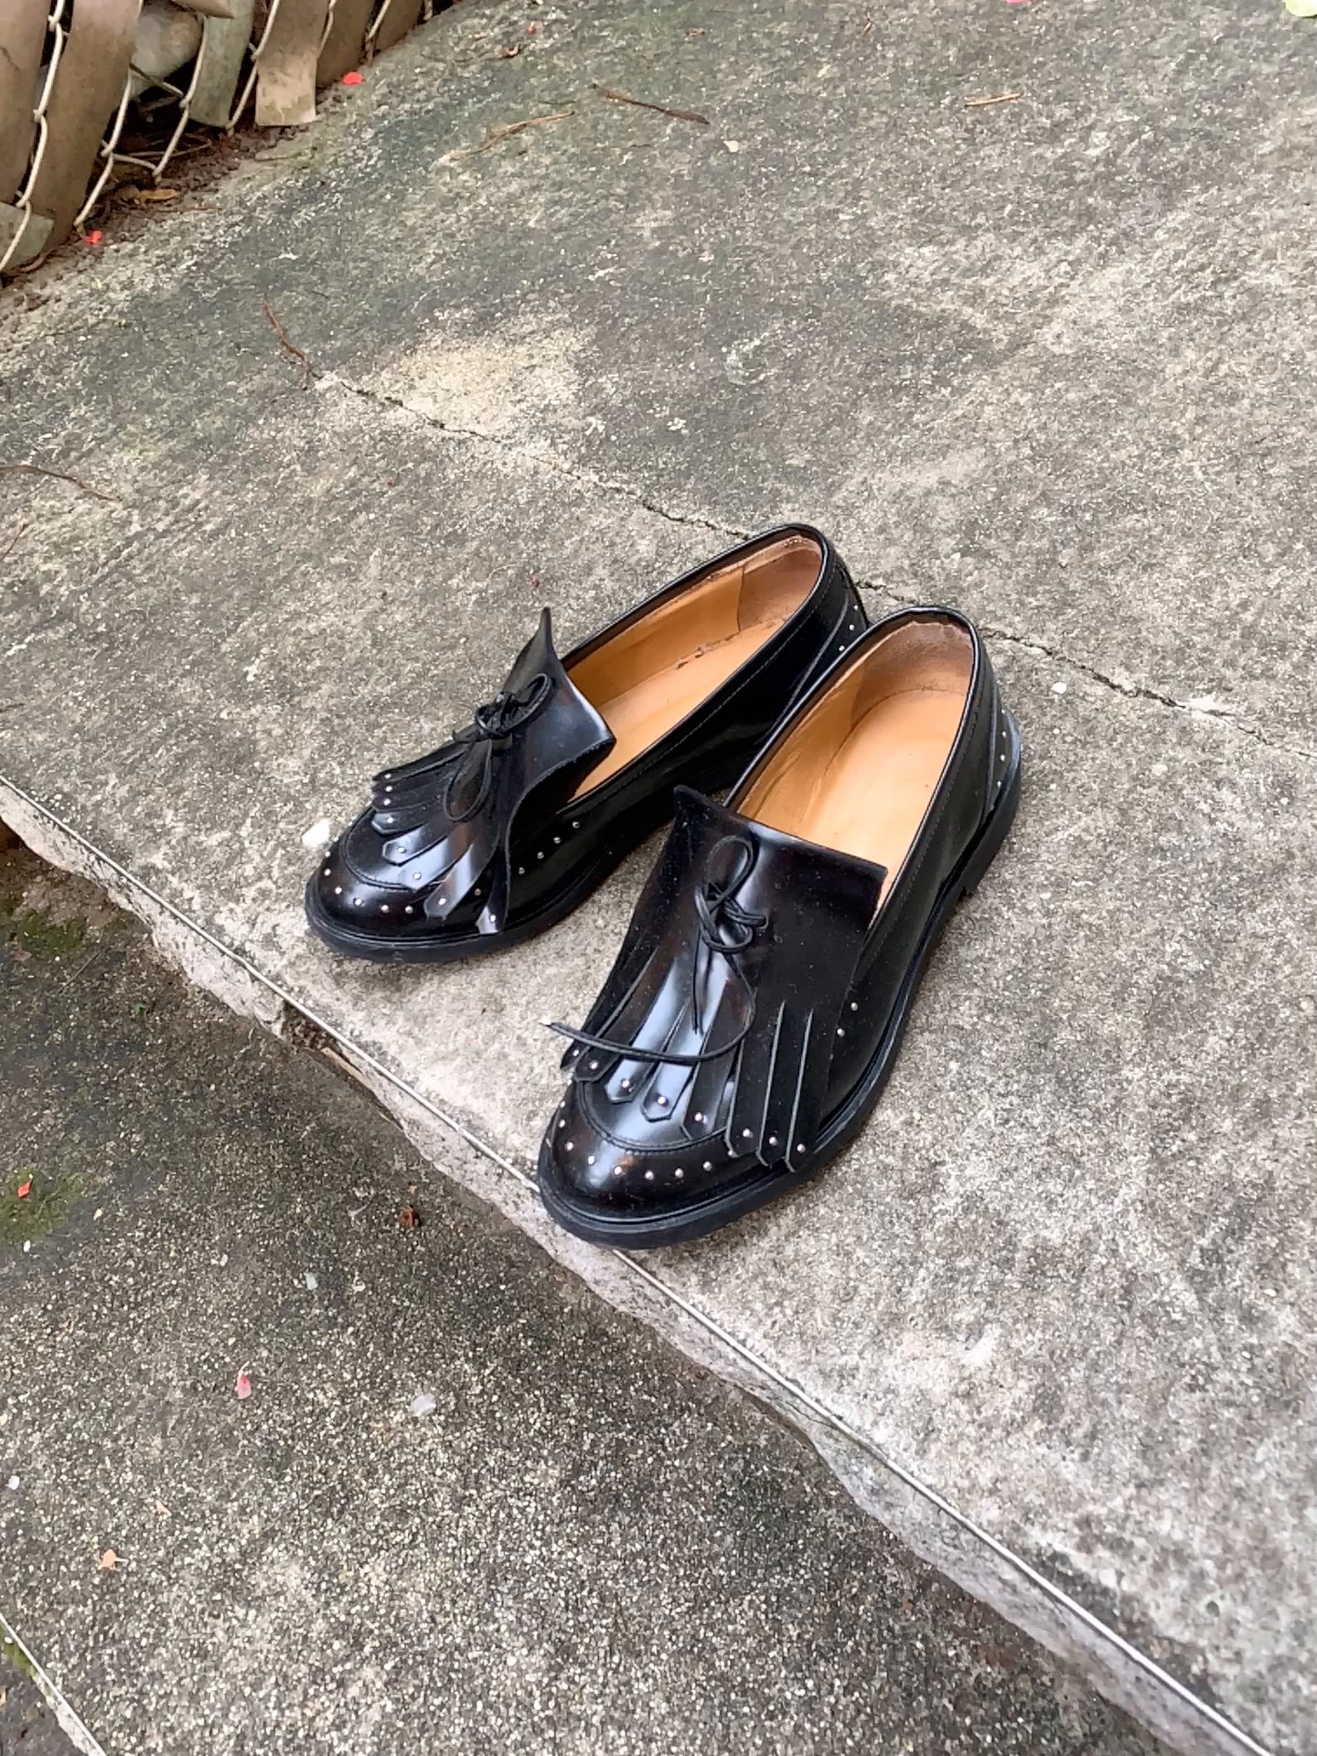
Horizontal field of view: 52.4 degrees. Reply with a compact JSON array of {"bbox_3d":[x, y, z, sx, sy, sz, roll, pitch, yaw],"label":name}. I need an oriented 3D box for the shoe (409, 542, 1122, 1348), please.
[{"bbox_3d":[0.047,0.010,0.438,0.094,0.080,0.249,27,64,29],"label":"shoe"}]

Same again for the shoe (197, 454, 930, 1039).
[{"bbox_3d":[-0.031,-0.052,0.503,0.246,0.080,0.094,-28,51,-7],"label":"shoe"}]
